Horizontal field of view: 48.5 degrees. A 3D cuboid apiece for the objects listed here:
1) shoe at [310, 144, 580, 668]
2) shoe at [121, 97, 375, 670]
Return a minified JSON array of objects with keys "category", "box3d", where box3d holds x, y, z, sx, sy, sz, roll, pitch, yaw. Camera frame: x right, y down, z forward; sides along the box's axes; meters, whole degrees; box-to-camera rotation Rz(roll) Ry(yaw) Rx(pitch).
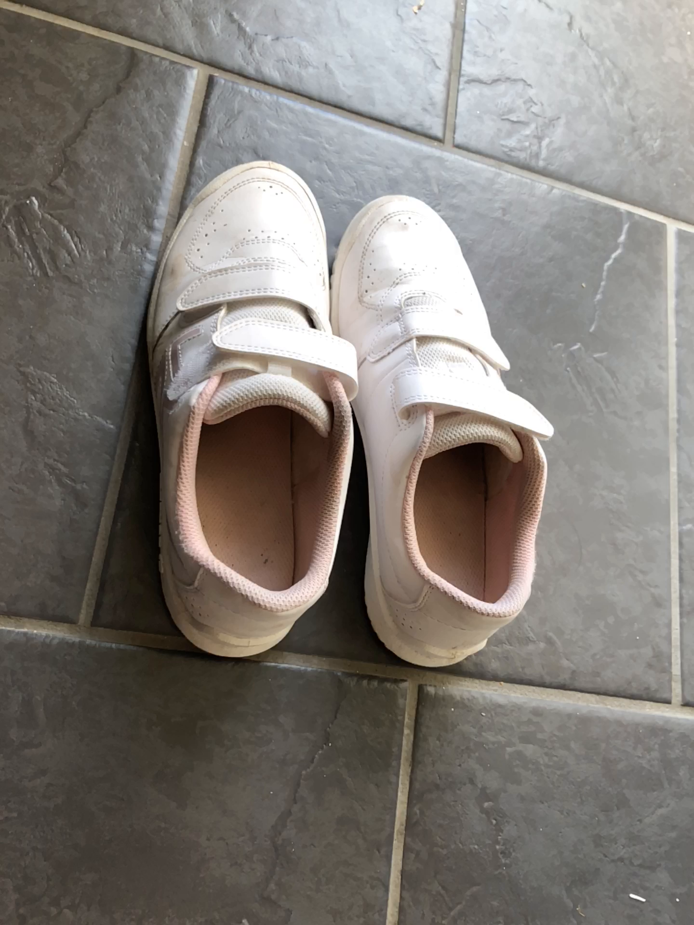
[{"category":"shoe","box3d":[0.041,-0.024,0.405,0.095,0.090,0.250,3,74,-17]},{"category":"shoe","box3d":[-0.047,-0.030,0.372,0.095,0.090,0.250,5,73,-16]}]
